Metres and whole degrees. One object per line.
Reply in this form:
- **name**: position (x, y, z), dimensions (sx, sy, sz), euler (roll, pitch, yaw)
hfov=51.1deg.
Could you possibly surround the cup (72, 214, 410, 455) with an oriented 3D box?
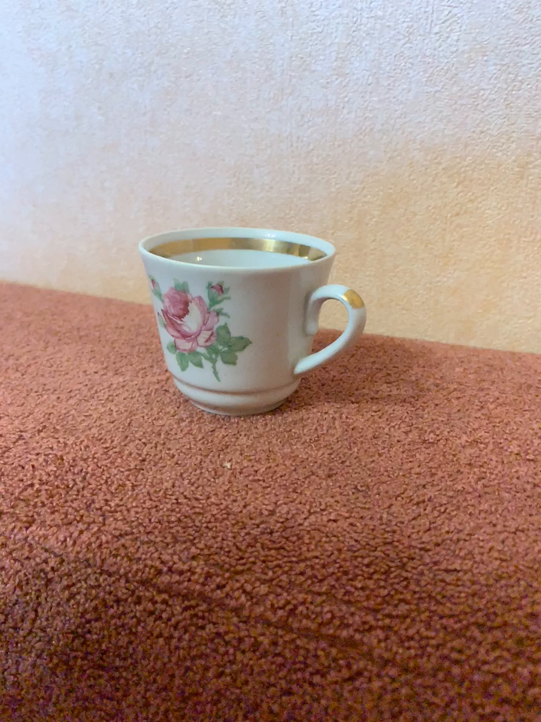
- **cup**: position (-0.008, -0.017, 0.191), dimensions (0.086, 0.047, 0.067), euler (14, 28, 30)
